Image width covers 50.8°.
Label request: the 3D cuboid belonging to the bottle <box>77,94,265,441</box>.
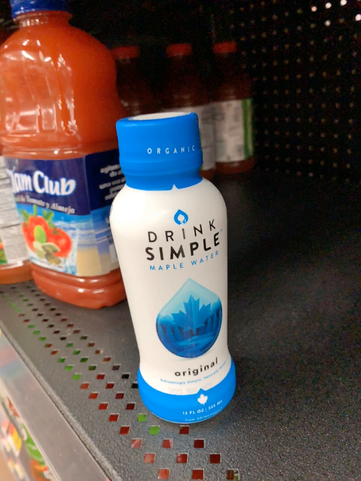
[{"bbox_3d":[-0.003,0.014,0.211,0.070,0.169,0.066,-6,23,3],"label":"bottle"}]
